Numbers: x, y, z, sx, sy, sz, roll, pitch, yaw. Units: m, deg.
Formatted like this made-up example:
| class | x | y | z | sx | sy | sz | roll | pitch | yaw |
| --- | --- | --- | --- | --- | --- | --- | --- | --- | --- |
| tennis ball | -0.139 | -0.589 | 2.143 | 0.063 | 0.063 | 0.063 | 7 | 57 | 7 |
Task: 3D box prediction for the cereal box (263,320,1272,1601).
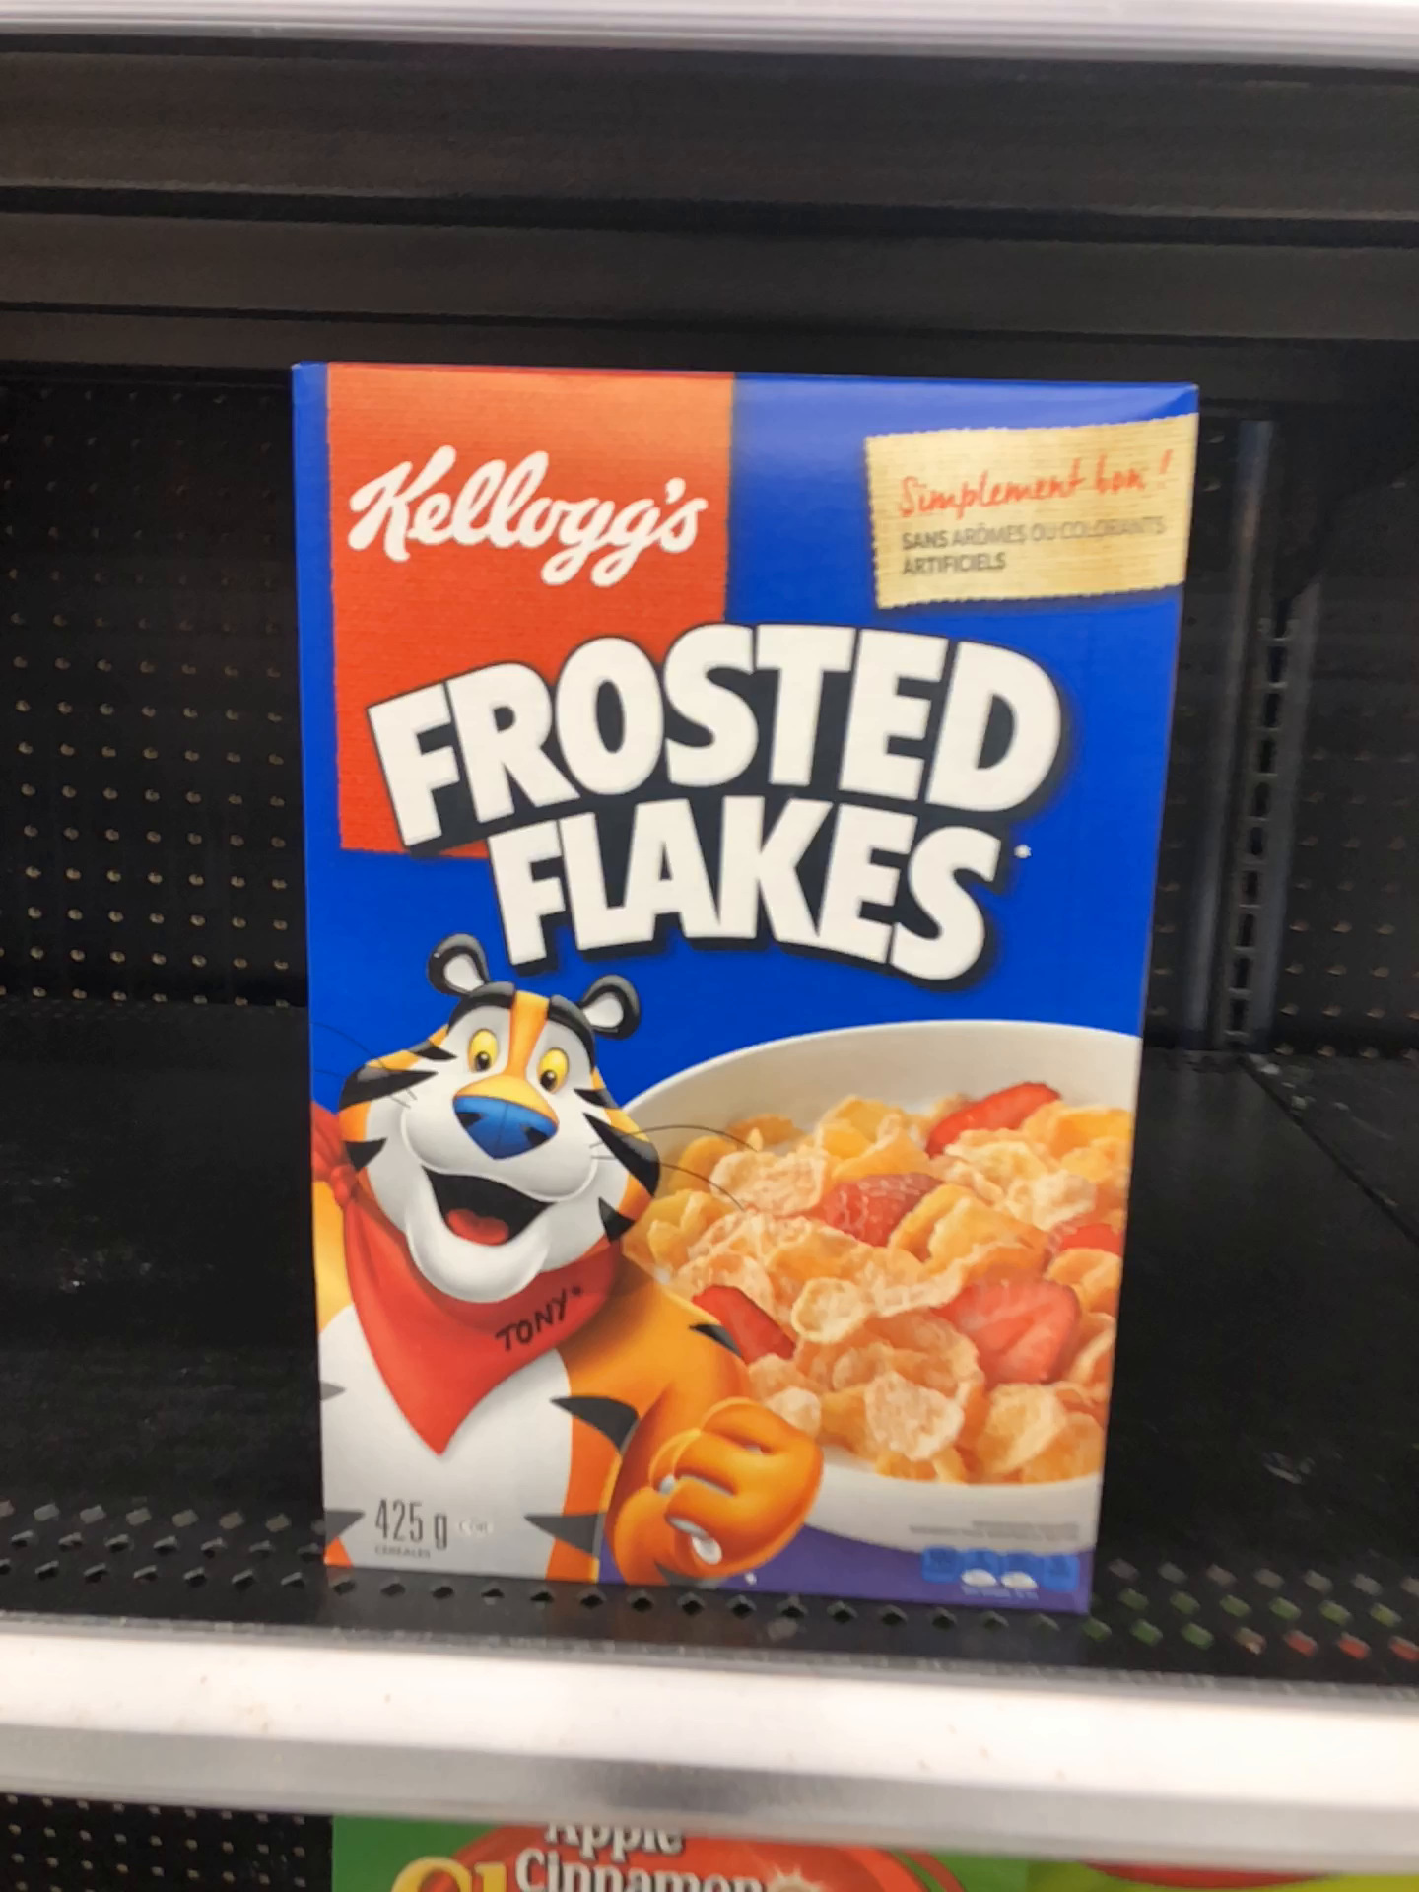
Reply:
| class | x | y | z | sx | sy | sz | roll | pitch | yaw |
| --- | --- | --- | --- | --- | --- | --- | --- | --- | --- |
| cereal box | 0.008 | 0.007 | 0.385 | 0.210 | 0.289 | 0.060 | 2 | 12 | 3 |
